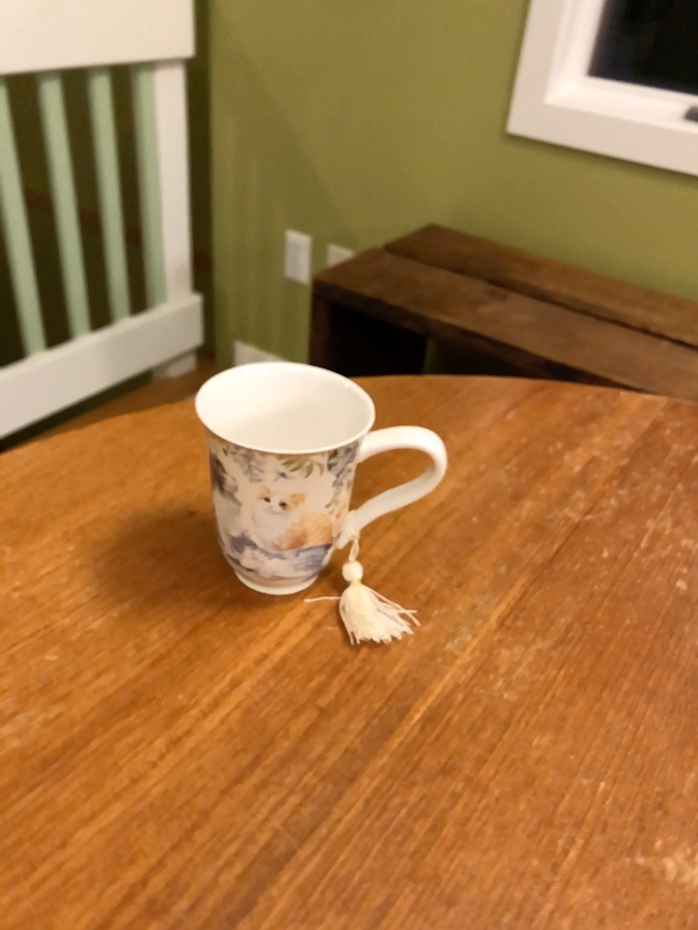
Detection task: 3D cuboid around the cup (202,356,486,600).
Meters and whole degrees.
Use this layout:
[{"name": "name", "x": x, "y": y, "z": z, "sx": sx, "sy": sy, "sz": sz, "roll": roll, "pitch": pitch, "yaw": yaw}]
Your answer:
[{"name": "cup", "x": -0.011, "y": 0.003, "z": 0.429, "sx": 0.135, "sy": 0.092, "sz": 0.095, "roll": -1, "pitch": 35, "yaw": -10}]
